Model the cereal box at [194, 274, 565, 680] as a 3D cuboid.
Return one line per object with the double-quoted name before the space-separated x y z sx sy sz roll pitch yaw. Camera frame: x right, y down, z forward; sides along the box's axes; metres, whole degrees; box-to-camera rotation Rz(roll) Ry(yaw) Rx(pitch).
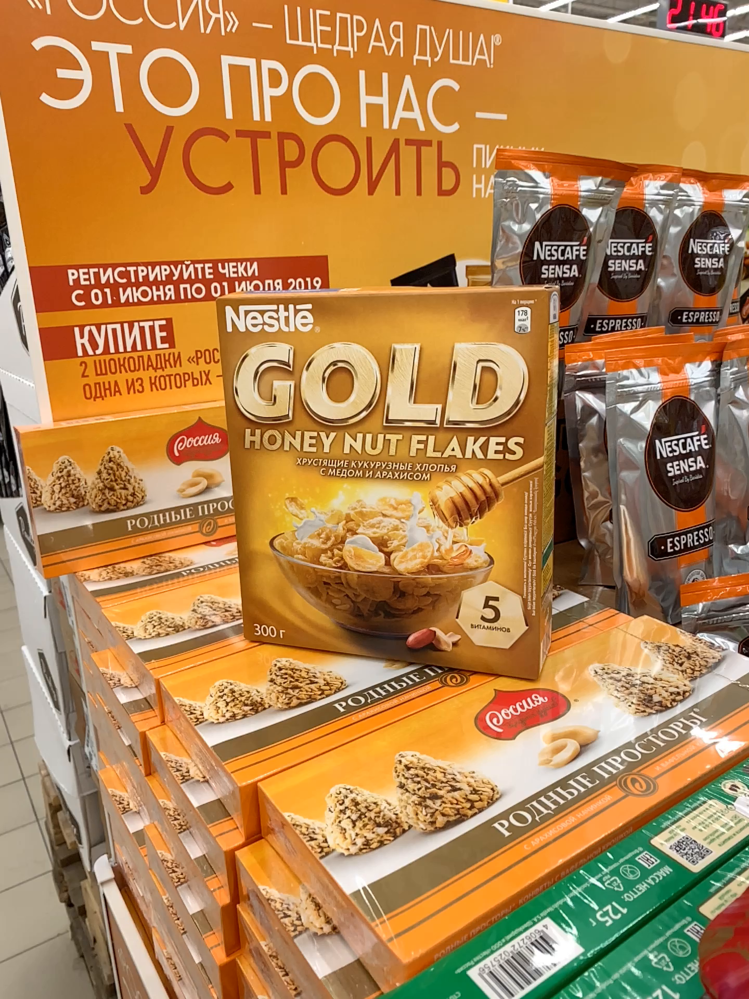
"cereal box" 0.005 -0.018 0.464 0.200 0.219 0.060 4 18 19
